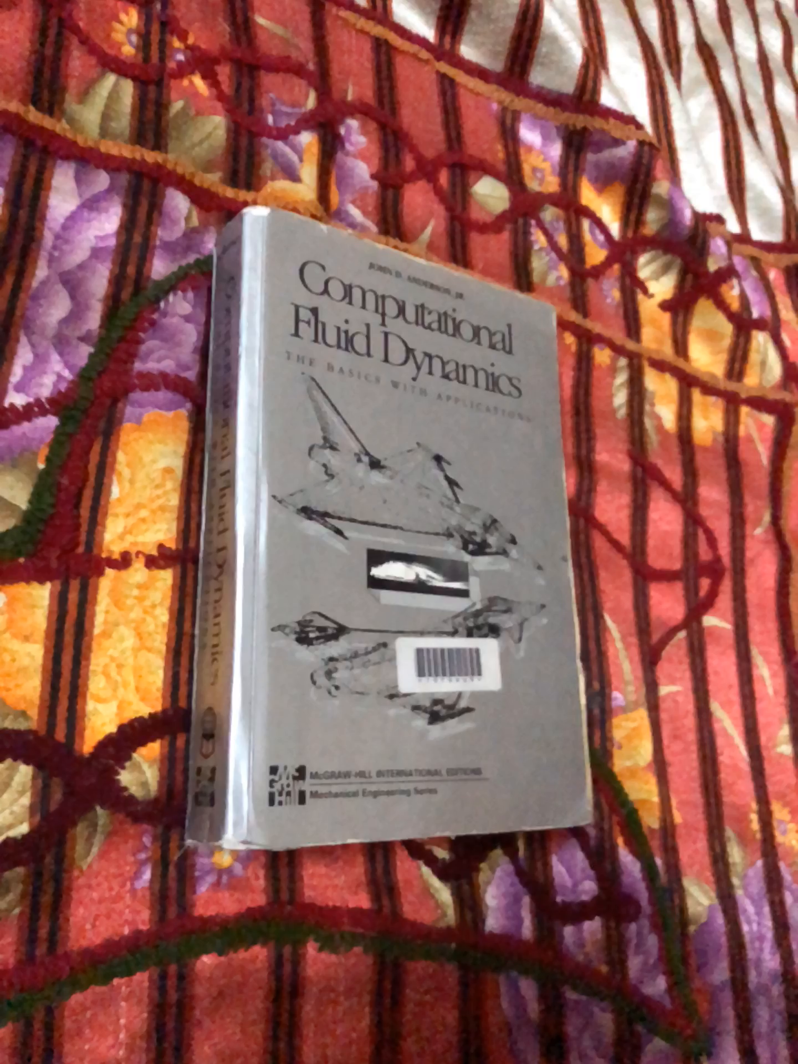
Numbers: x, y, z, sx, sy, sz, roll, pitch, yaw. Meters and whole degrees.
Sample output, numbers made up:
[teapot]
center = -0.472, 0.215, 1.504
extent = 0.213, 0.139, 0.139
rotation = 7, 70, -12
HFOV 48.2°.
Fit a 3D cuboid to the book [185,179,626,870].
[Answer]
[book]
center = 0.006, 0.001, 0.347
extent = 0.159, 0.046, 0.229
rotation = 7, 74, -32
